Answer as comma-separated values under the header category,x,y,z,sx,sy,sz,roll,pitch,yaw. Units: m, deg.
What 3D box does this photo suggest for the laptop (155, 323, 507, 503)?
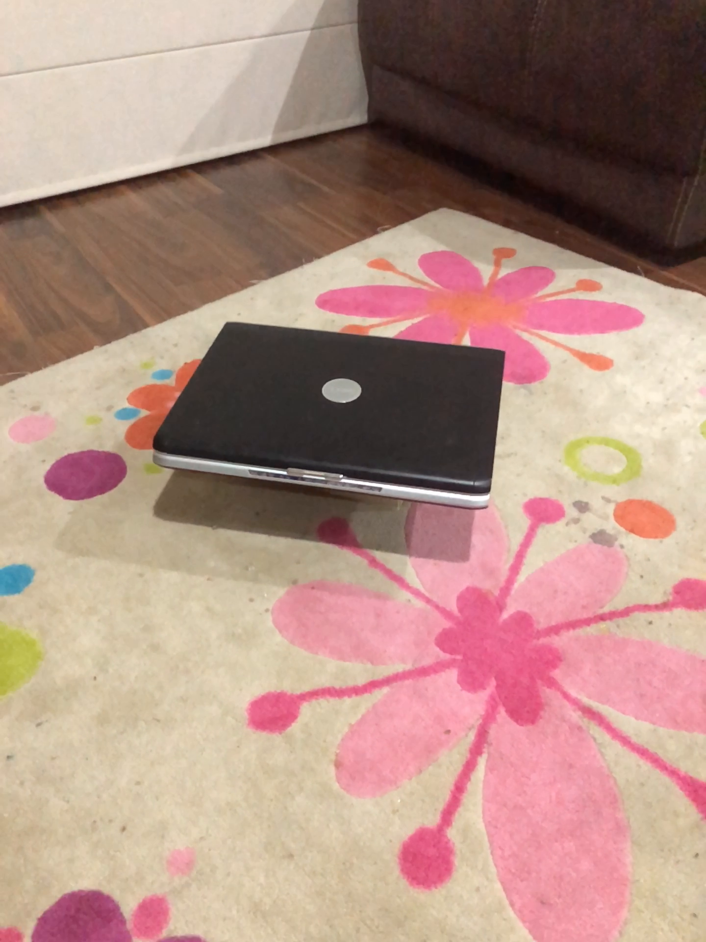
category,x,y,z,sx,sy,sz,roll,pitch,yaw
laptop,-0.015,-0.078,0.874,0.353,0.015,0.233,7,46,12
